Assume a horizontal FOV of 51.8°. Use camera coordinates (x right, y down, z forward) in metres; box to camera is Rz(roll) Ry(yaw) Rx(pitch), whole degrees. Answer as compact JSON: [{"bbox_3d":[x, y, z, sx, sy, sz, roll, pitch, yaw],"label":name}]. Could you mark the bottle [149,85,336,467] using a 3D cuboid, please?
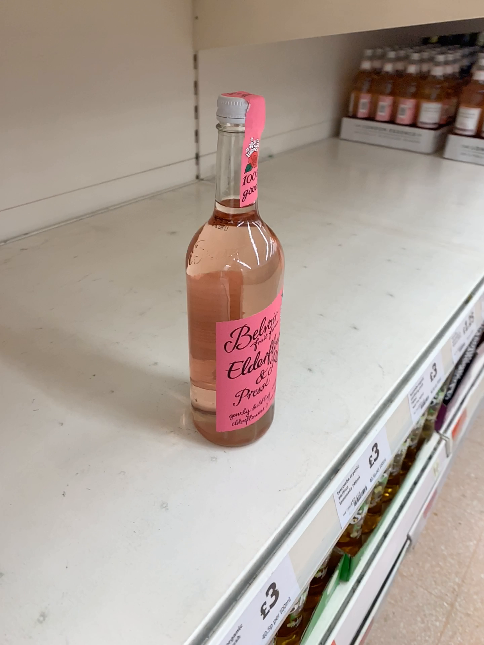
[{"bbox_3d":[-0.004,-0.030,0.394,0.087,0.274,0.087,1,31,-1],"label":"bottle"}]
